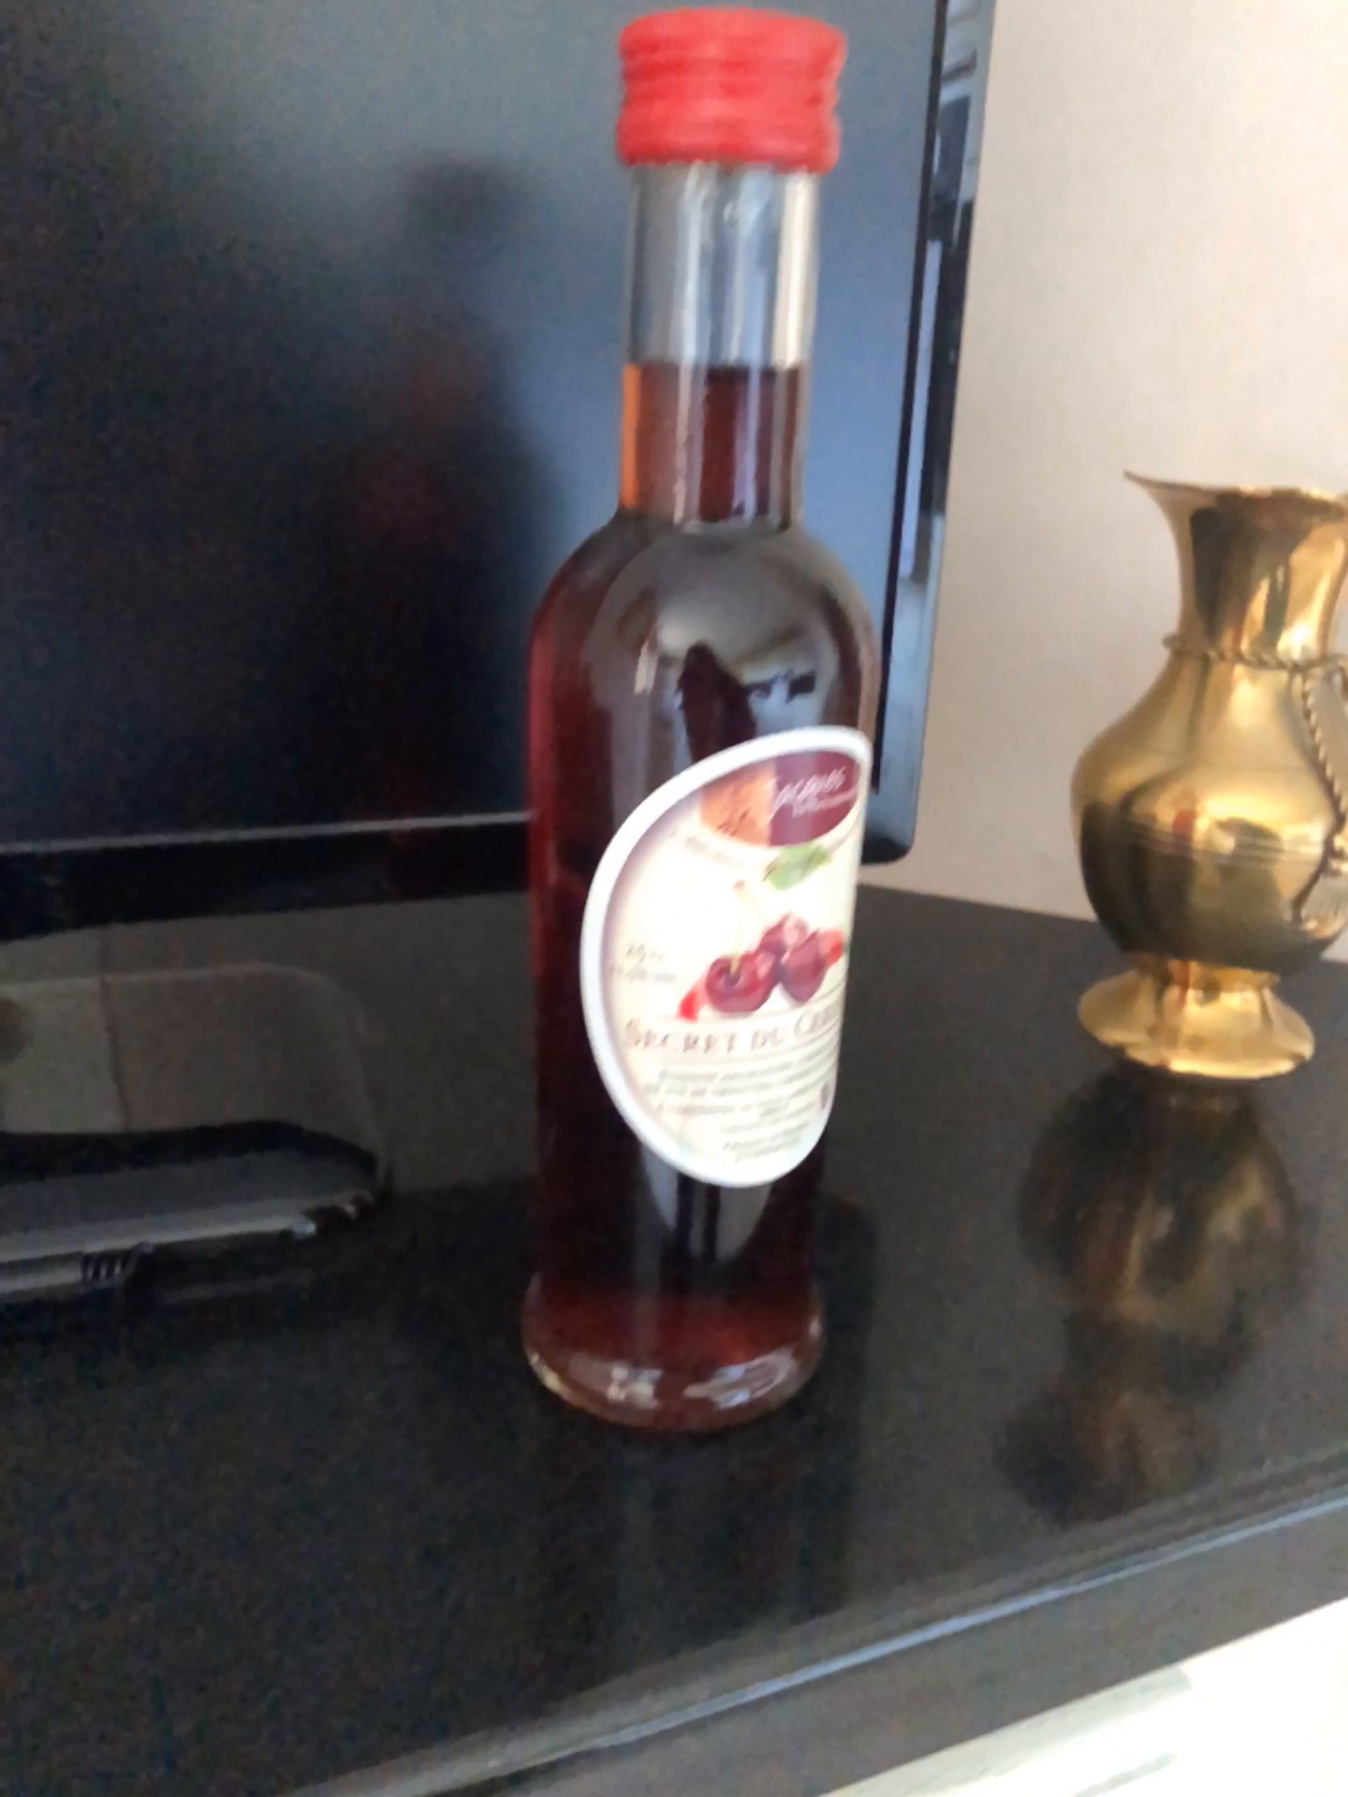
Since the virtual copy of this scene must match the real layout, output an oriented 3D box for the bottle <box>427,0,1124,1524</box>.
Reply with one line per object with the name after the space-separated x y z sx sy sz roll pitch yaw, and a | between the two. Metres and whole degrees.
0.008 -0.020 0.247 0.070 0.219 0.070 2 20 -1 | bottle
